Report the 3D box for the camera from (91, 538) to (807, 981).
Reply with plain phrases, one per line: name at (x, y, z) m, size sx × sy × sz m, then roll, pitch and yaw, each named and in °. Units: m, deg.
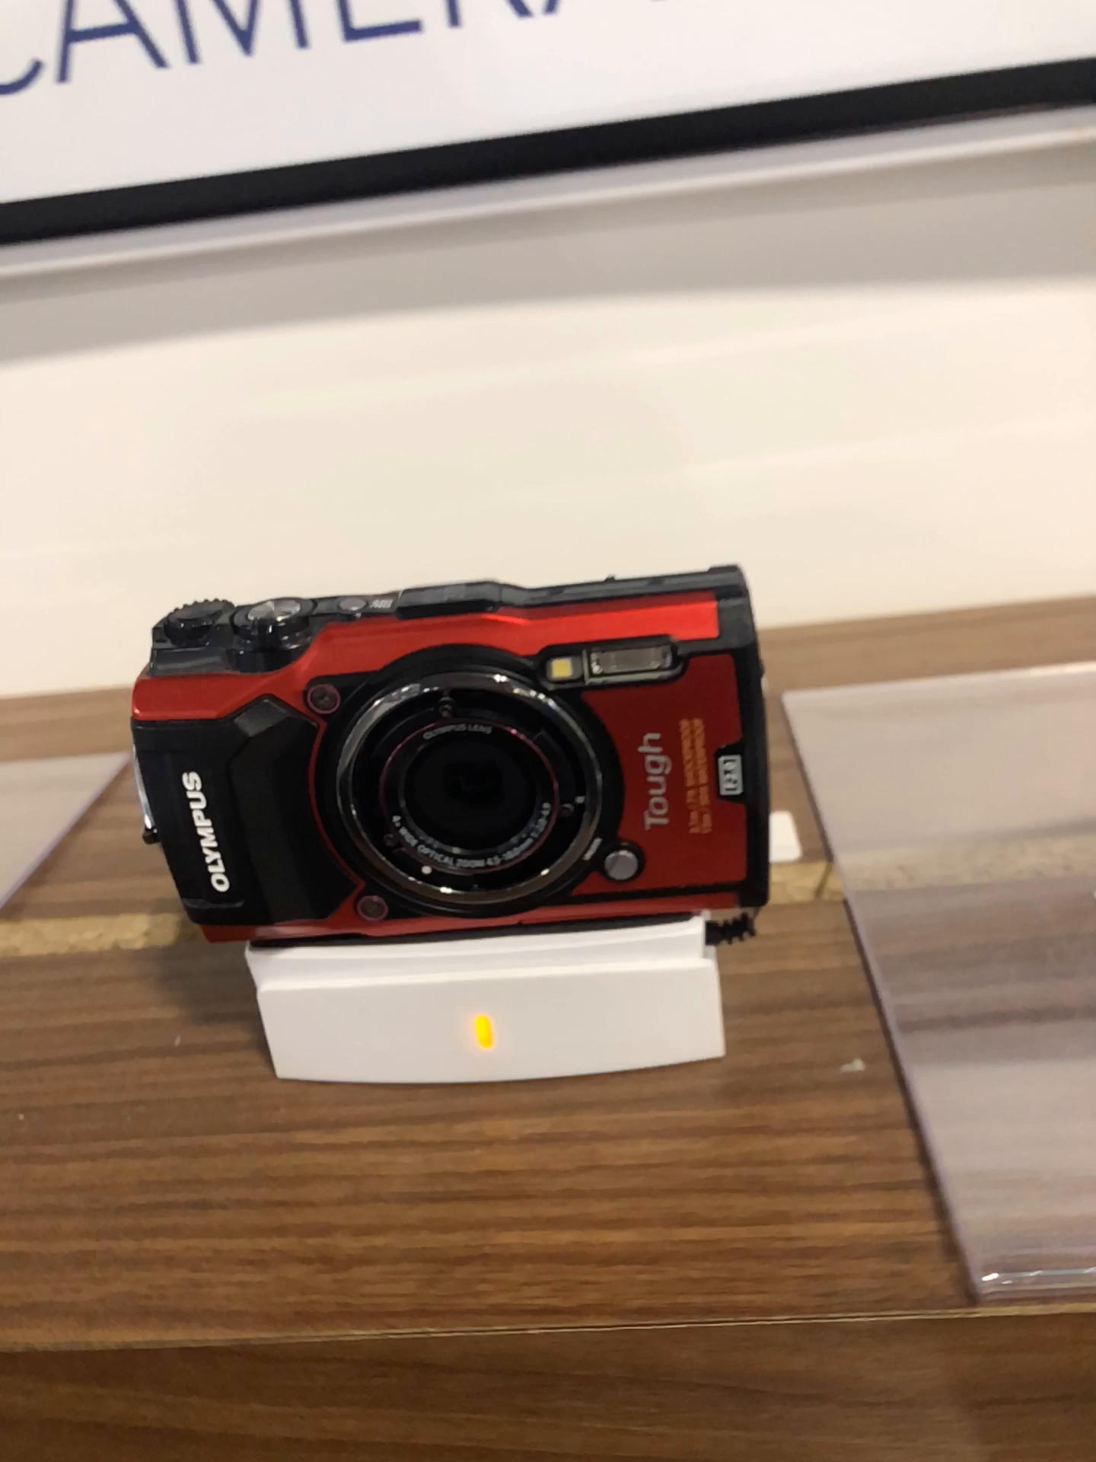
camera at (-0.015, 0.007, 0.233) m, size 0.120 × 0.070 × 0.030 m, roll -4°, pitch 23°, yaw 8°
